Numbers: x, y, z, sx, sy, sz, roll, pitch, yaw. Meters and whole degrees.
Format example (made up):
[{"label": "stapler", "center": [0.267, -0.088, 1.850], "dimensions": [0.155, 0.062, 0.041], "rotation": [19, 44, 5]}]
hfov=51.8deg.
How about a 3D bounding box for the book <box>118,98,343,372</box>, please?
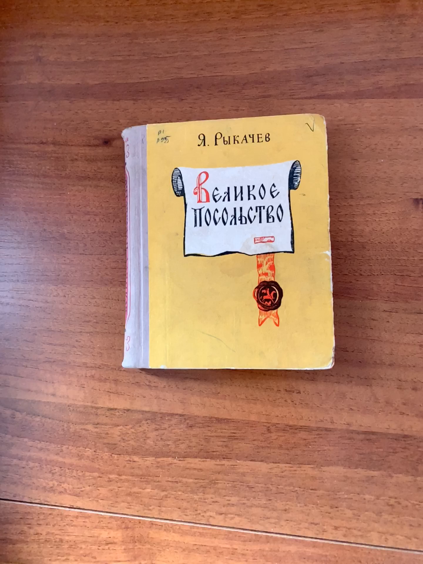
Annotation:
[{"label": "book", "center": [0.010, -0.029, 0.288], "dimensions": [0.142, 0.023, 0.170], "rotation": [-1, 88, 7]}]
